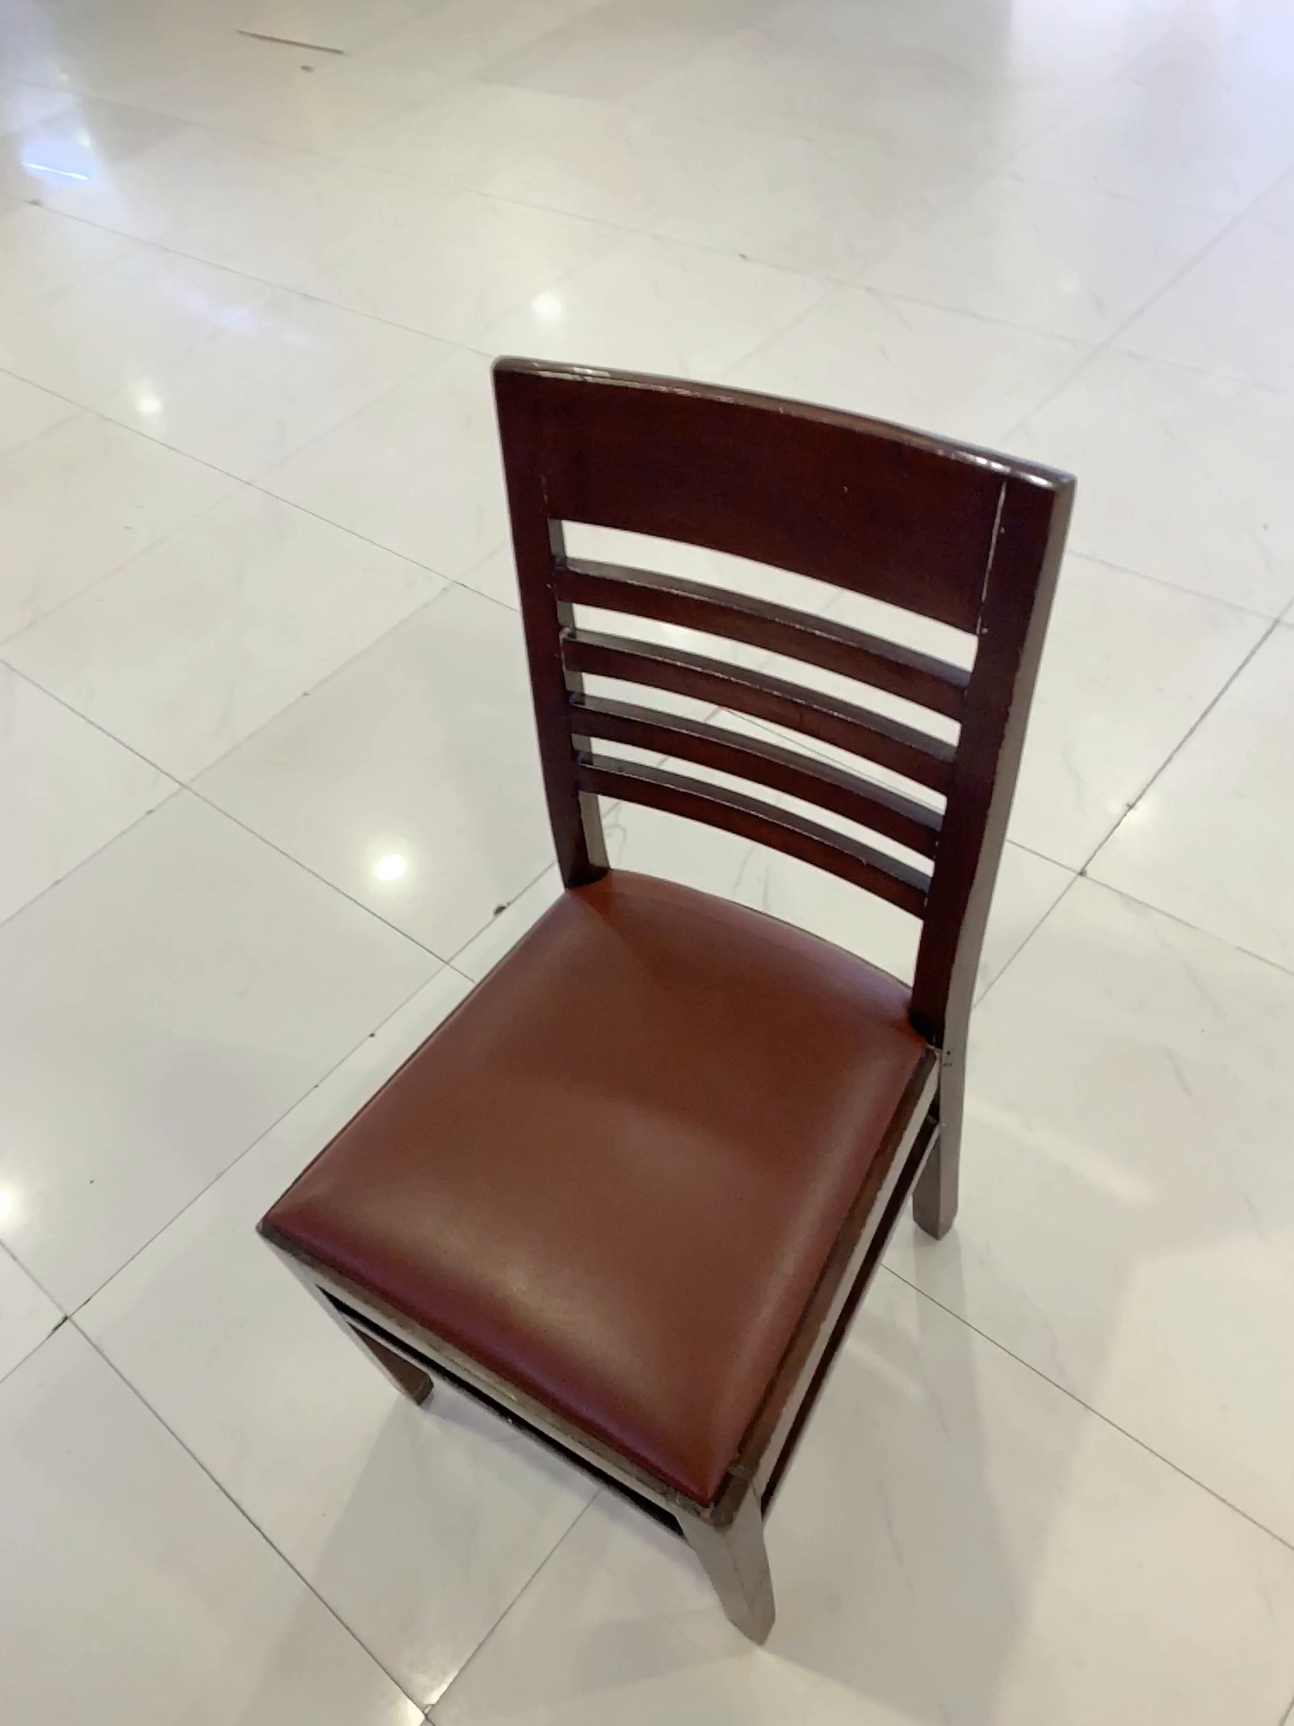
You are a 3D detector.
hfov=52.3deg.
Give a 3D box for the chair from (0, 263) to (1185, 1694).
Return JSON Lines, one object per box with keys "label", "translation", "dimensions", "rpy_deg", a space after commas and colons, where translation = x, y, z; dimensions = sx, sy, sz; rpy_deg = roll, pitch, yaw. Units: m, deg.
{"label": "chair", "translation": [-0.038, 0.099, 0.984], "dimensions": [0.562, 0.784, 0.543], "rpy_deg": [22, 56, 27]}
